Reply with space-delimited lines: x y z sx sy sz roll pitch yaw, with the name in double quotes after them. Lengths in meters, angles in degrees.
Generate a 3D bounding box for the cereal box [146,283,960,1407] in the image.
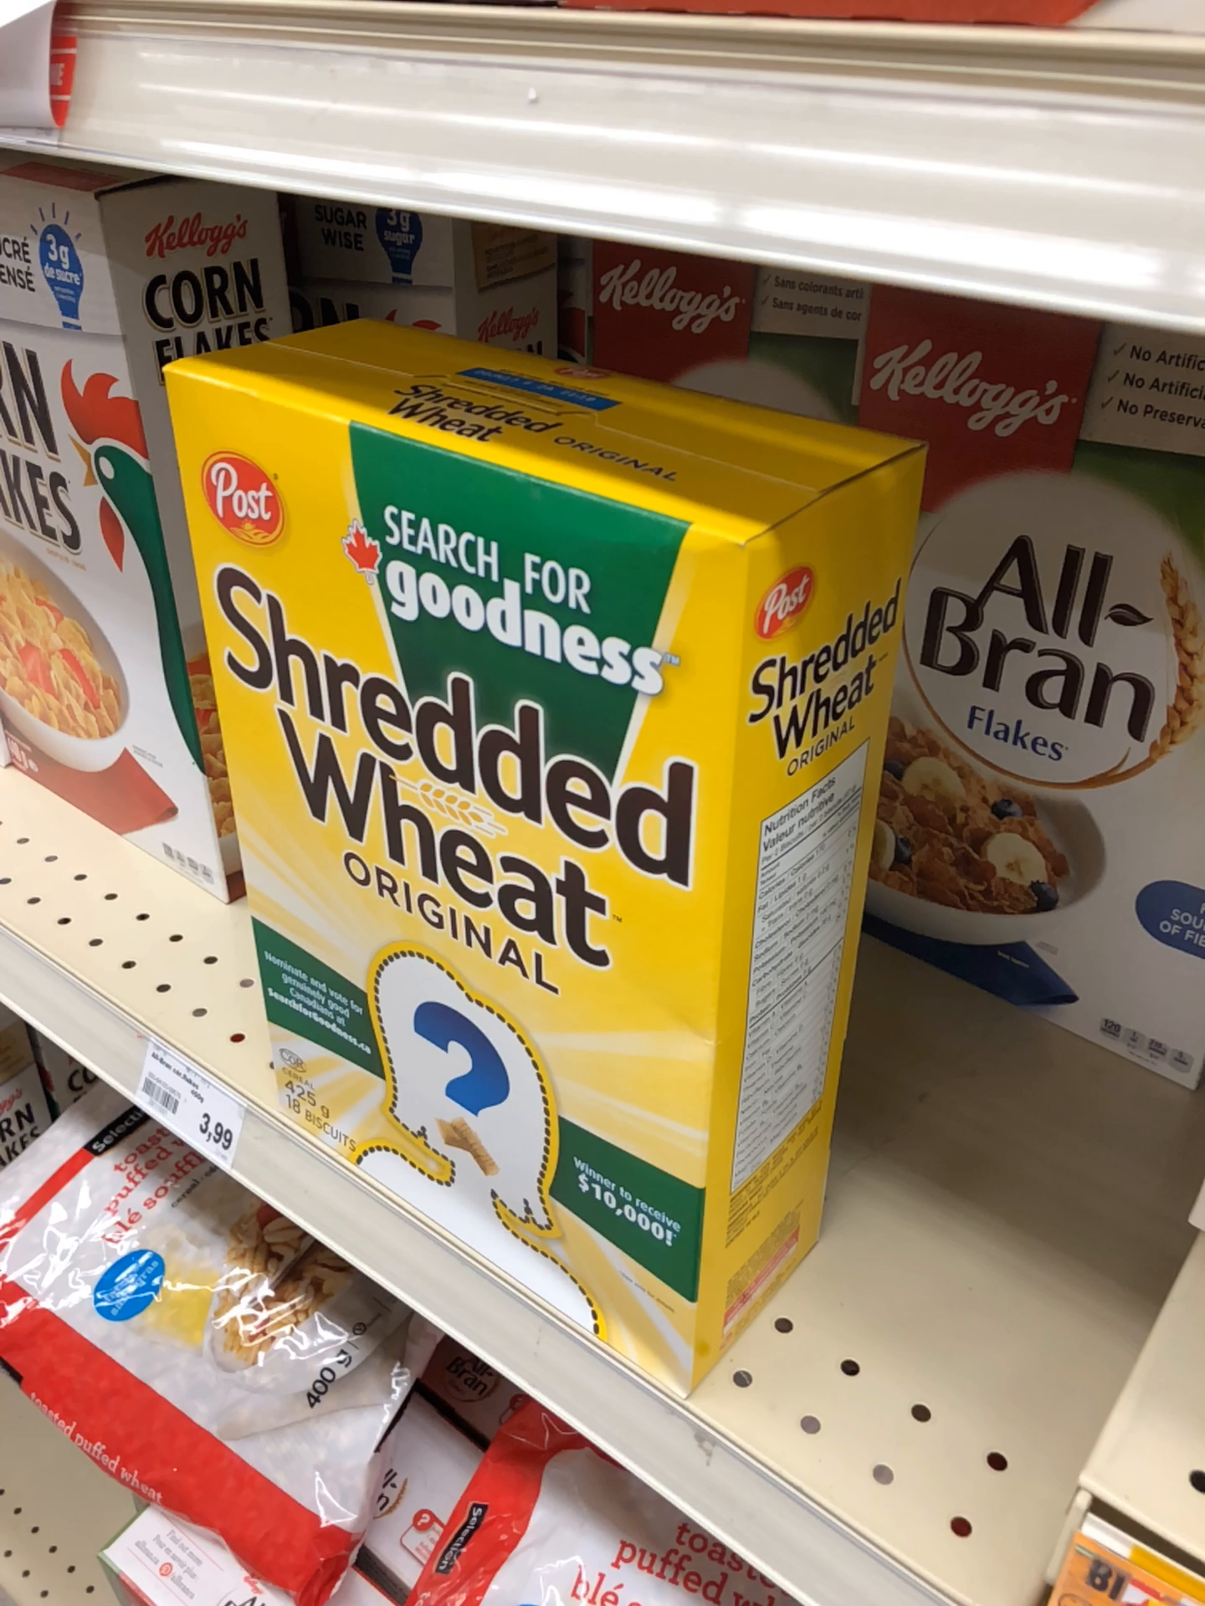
-0.021 0.011 0.409 0.201 0.288 0.080 23 38 32 "cereal box"
